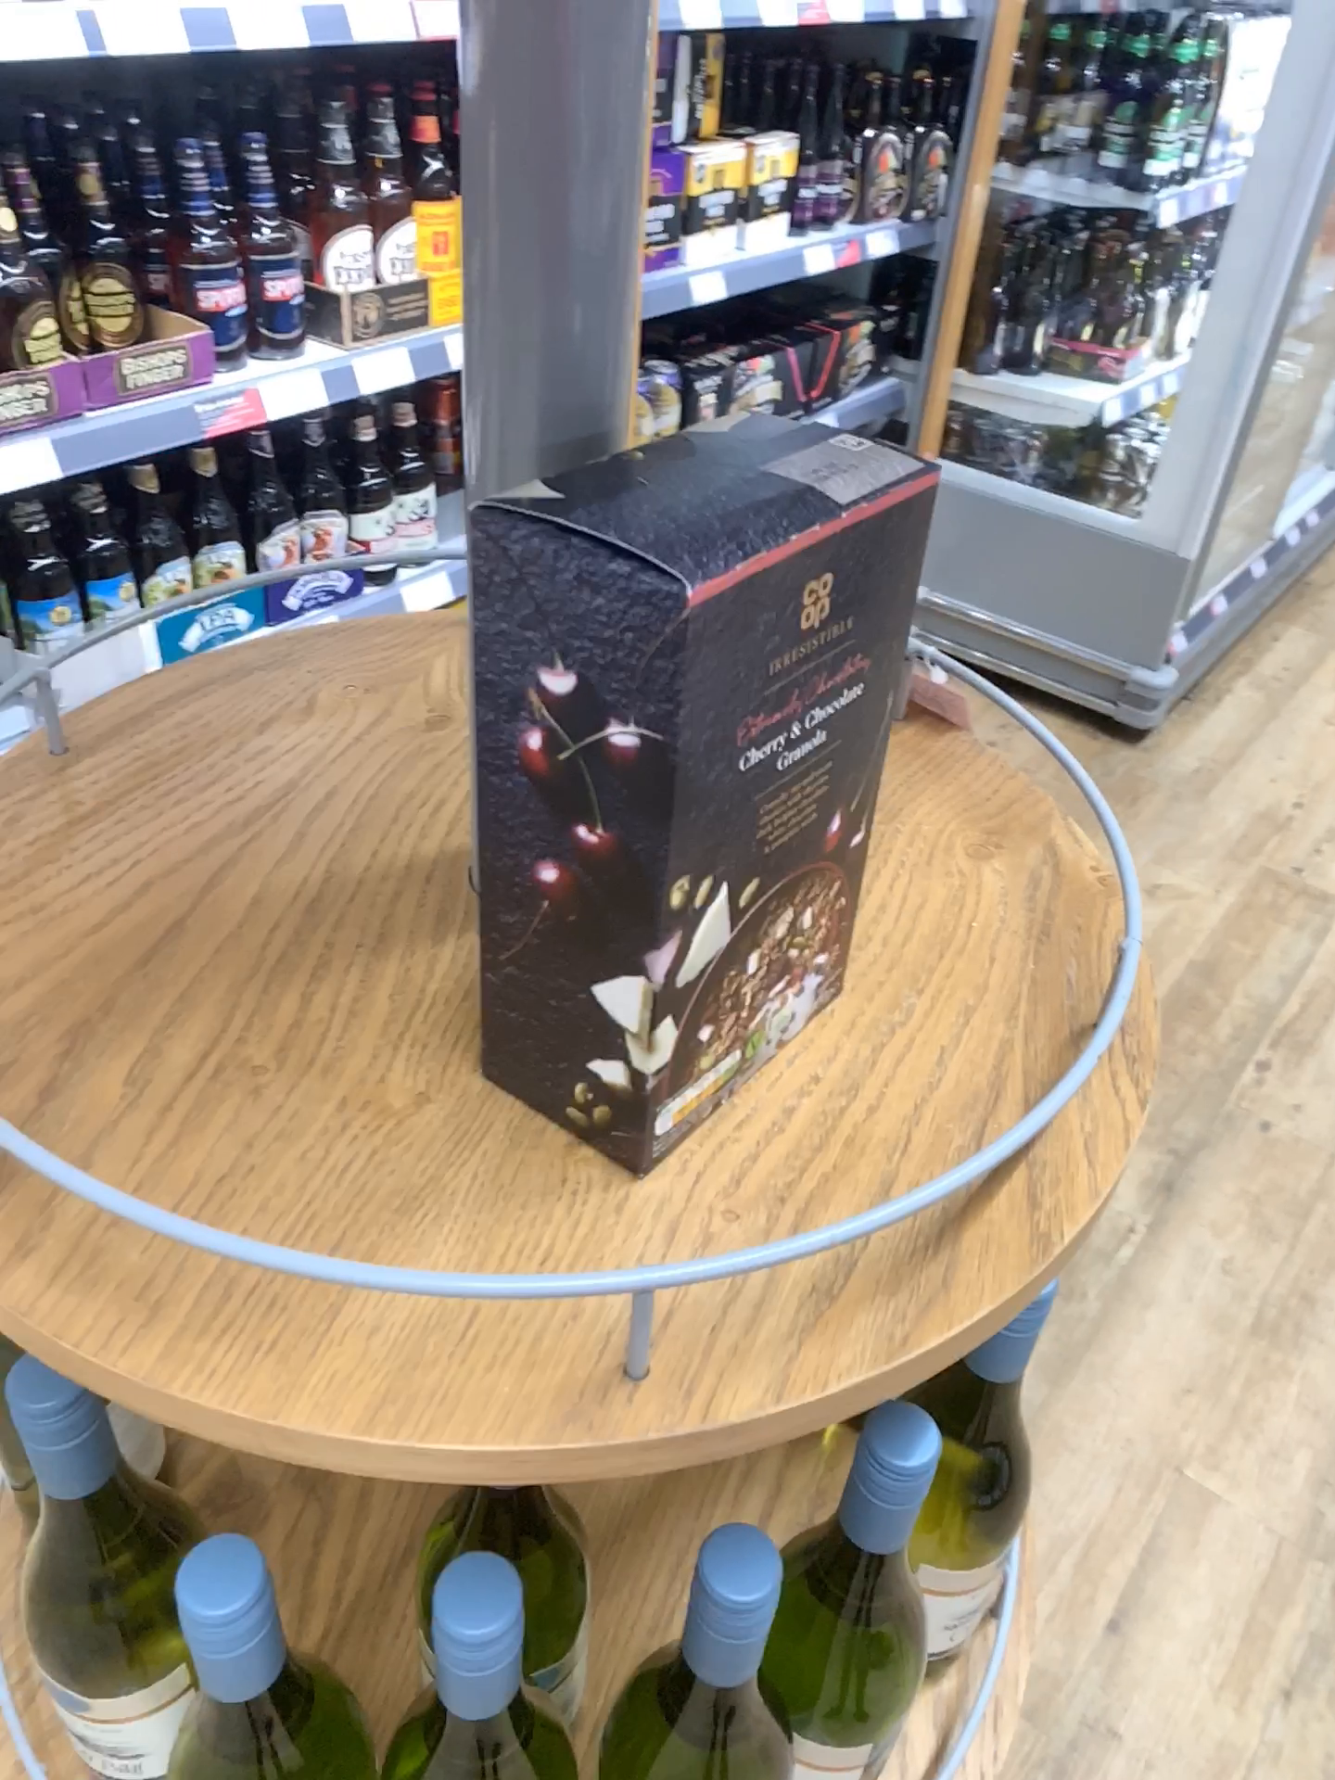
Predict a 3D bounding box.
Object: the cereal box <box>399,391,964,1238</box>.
[{"bbox_3d":[0.001,-0.025,0.441,0.090,0.218,0.141,28,42,27],"label":"cereal box"}]
